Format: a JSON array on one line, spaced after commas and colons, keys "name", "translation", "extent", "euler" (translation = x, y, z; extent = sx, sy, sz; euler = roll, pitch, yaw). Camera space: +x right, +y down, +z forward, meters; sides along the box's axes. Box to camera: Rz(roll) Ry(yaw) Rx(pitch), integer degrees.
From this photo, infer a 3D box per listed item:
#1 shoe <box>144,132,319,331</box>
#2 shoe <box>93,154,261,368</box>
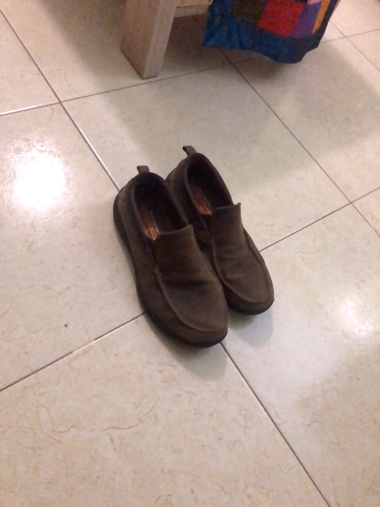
[{"name": "shoe", "translation": [0.057, -0.045, 0.700], "extent": [0.130, 0.100, 0.300], "euler": [-21, 70, -27]}, {"name": "shoe", "translation": [-0.033, 0.003, 0.652], "extent": [0.120, 0.100, 0.300], "euler": [-19, 69, -26]}]
